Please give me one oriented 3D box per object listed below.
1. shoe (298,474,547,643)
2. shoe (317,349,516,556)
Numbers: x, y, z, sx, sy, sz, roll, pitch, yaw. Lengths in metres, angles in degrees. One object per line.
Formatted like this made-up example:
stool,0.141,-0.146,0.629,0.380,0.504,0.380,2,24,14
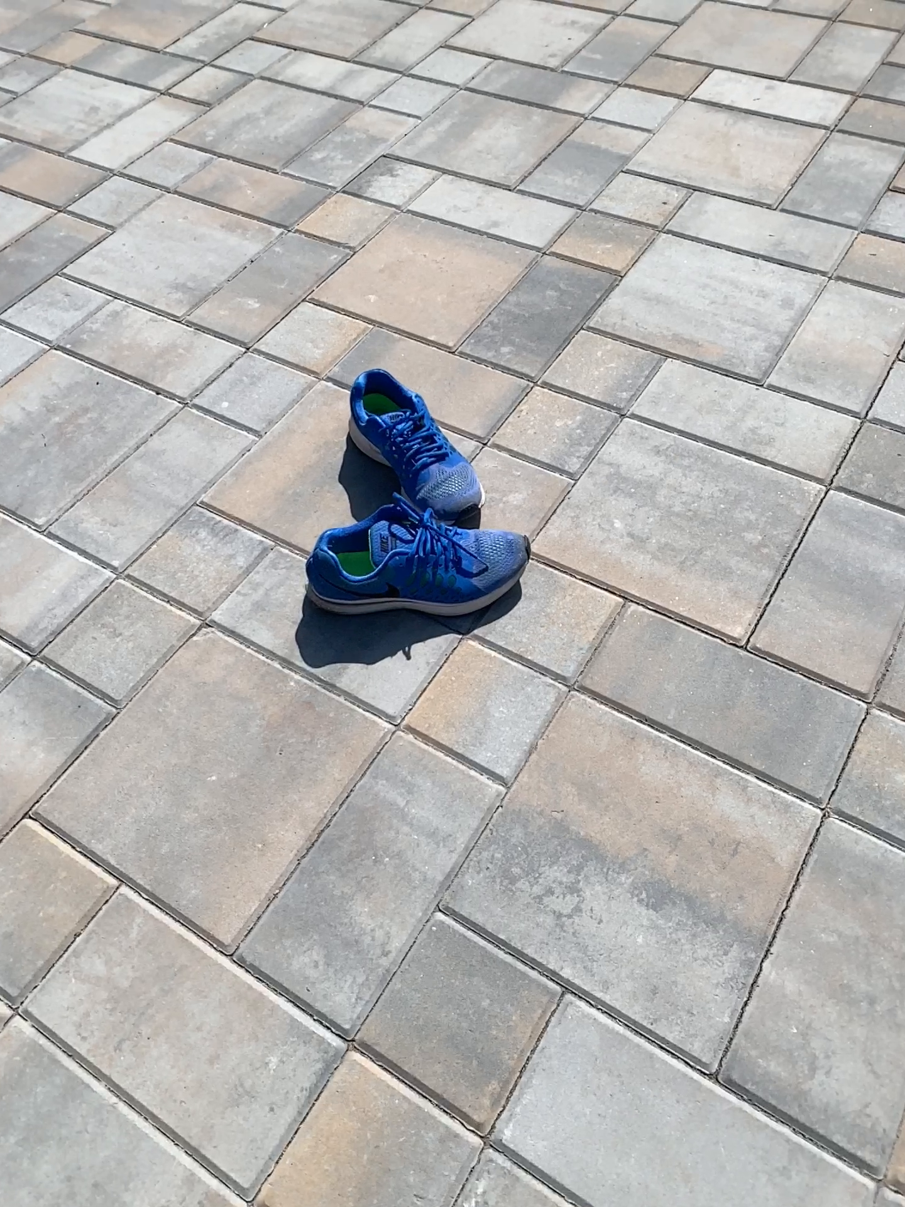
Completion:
shoe,-0.035,-0.052,1.091,0.270,0.110,0.120,-8,54,-2
shoe,-0.049,-0.203,1.201,0.120,0.080,0.281,-30,58,-17
